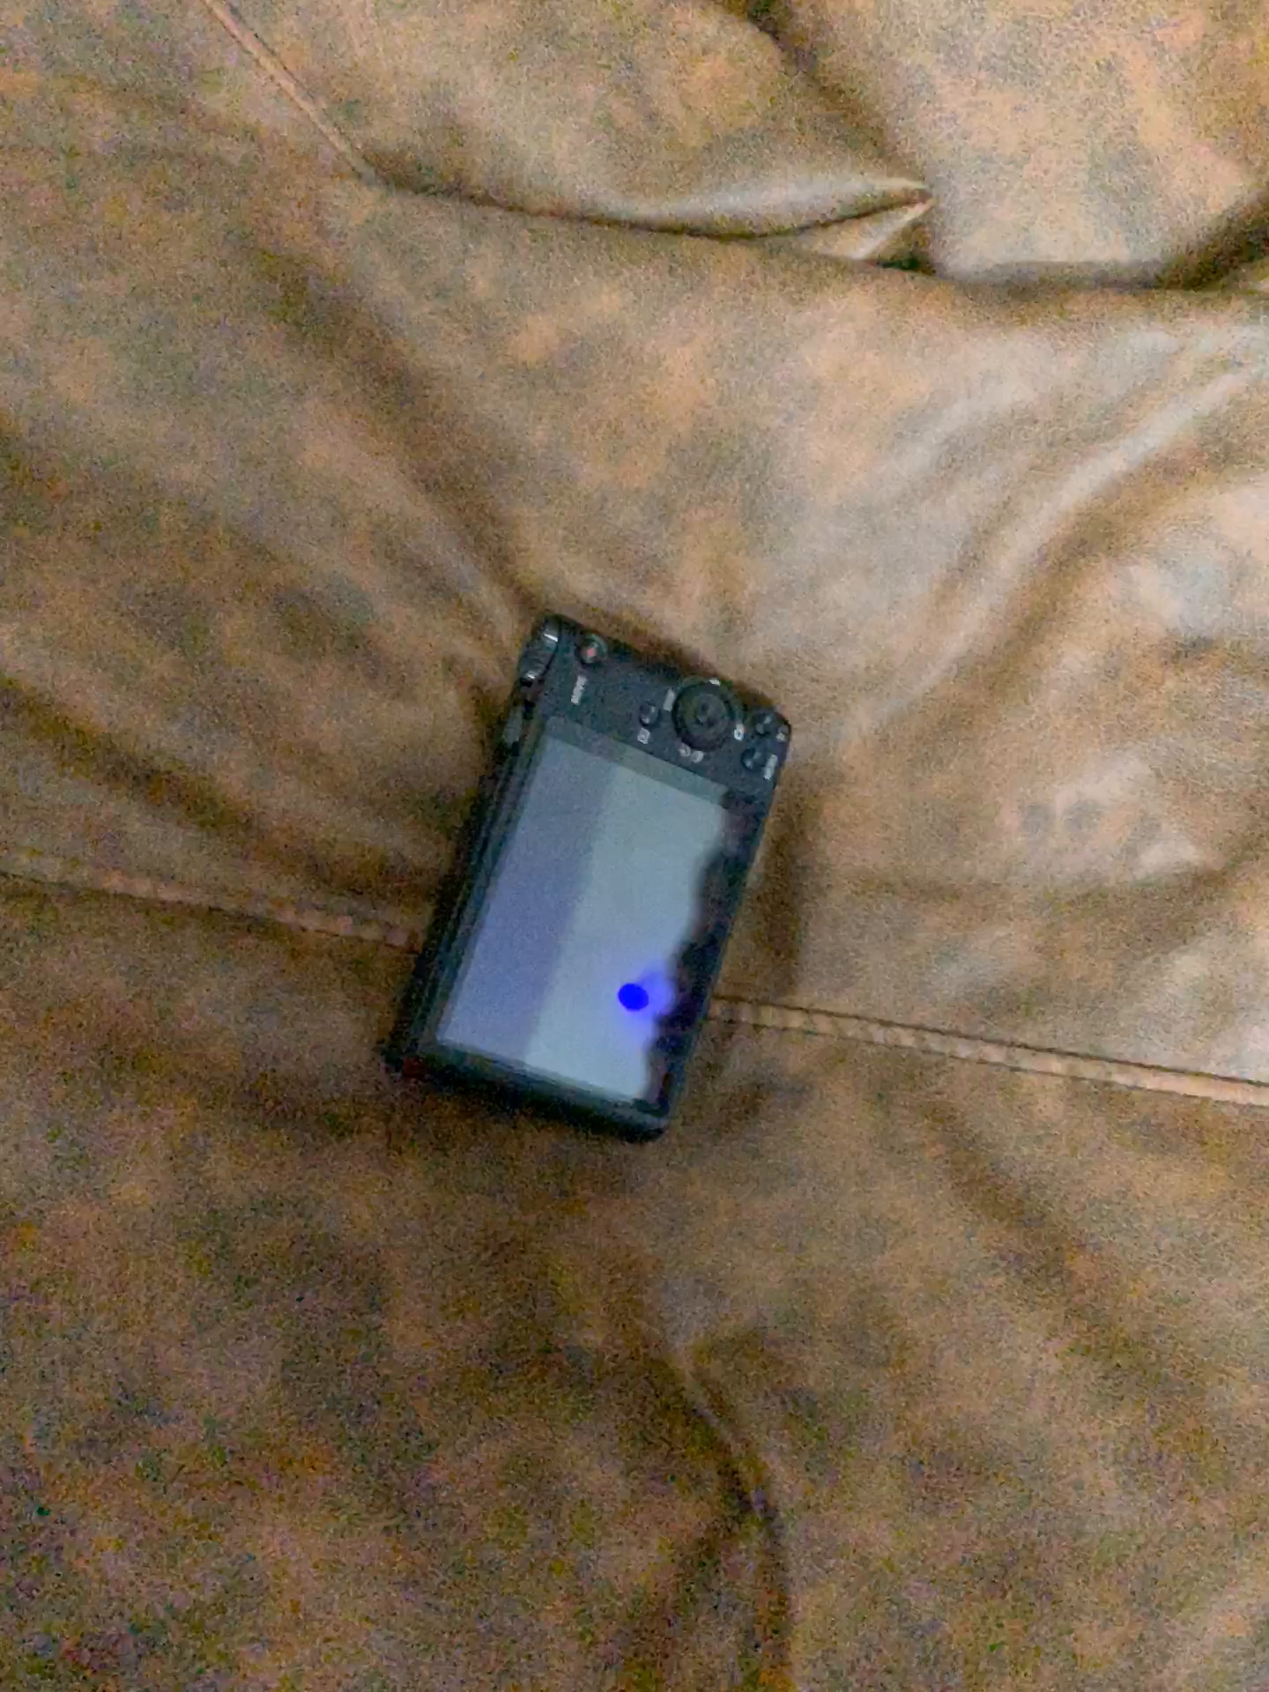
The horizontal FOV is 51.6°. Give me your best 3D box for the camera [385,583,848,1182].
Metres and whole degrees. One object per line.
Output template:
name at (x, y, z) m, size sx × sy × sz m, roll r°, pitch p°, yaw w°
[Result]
camera at (-0.003, 0.008, 0.261) m, size 0.060 × 0.024 × 0.100 m, roll 20°, pitch 80°, yaw -12°
